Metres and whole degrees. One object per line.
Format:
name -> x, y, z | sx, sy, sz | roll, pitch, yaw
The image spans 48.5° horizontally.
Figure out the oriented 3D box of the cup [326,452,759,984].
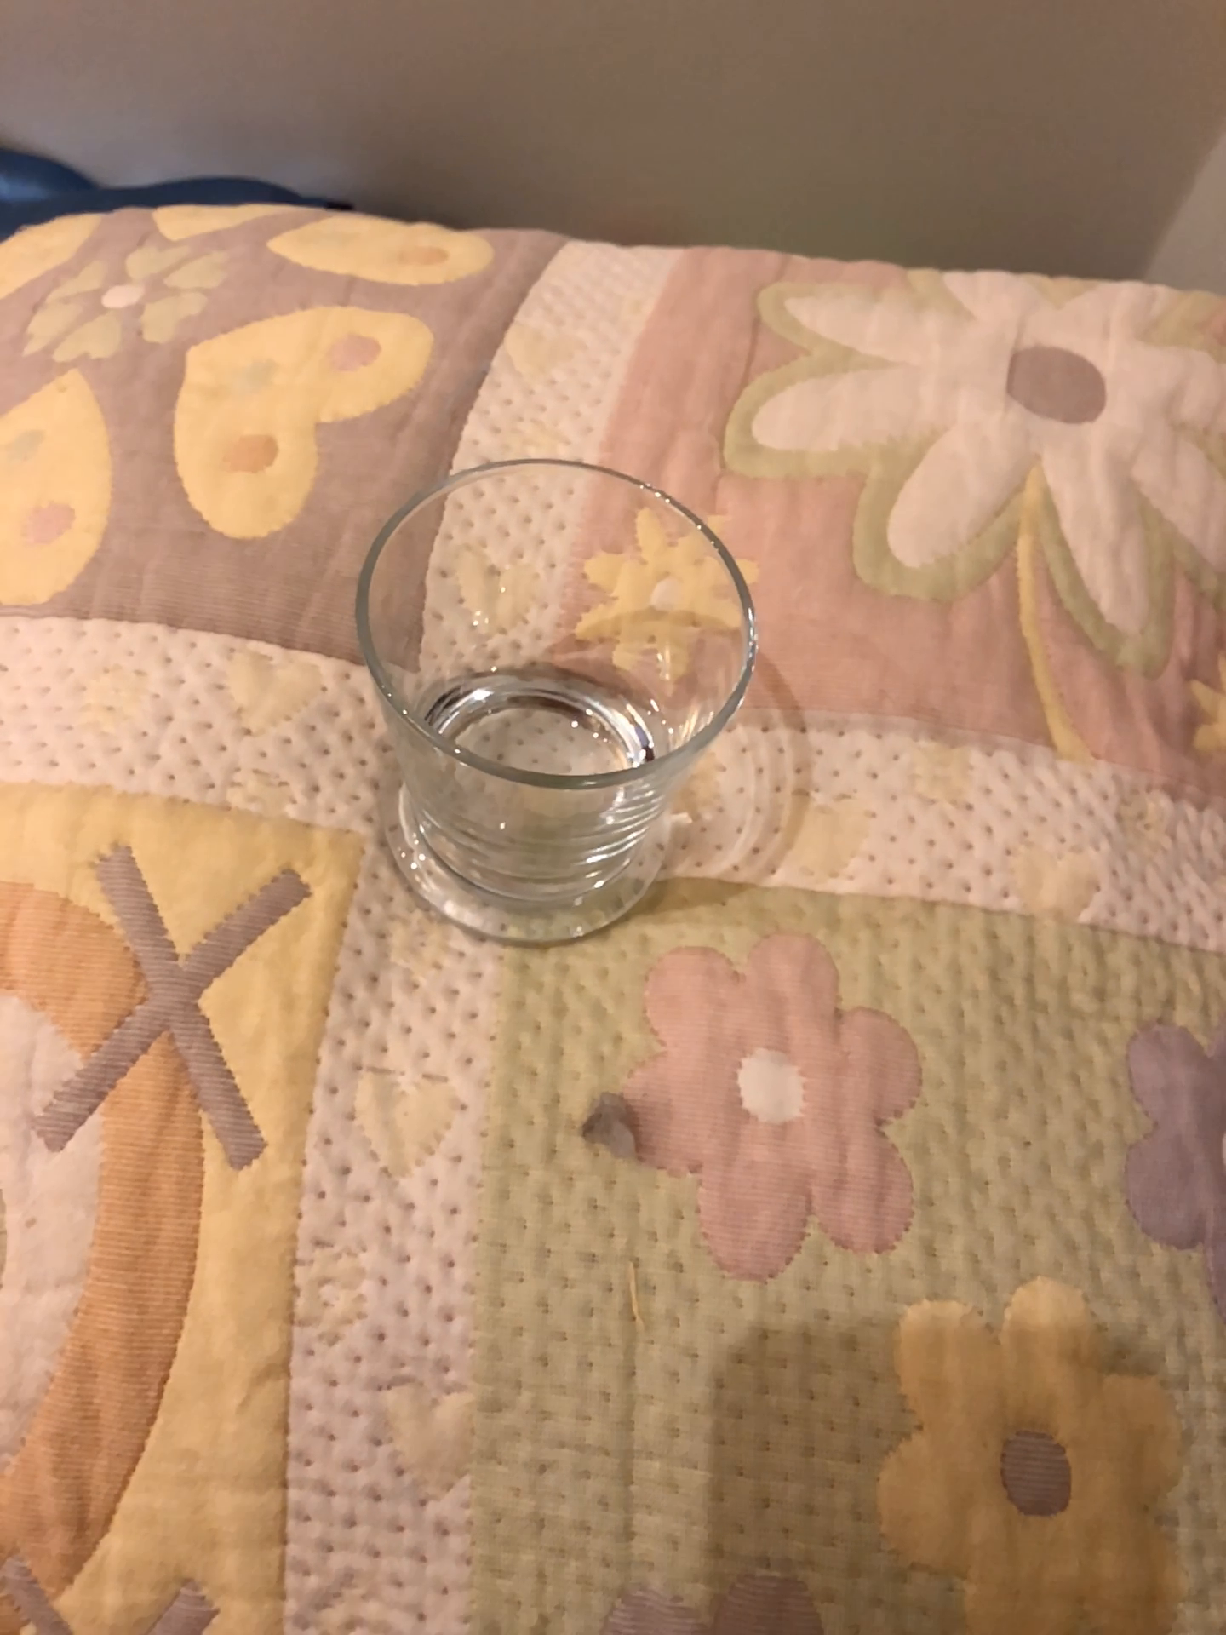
cup -> -0.021, -0.017, 0.308 | 0.080, 0.090, 0.080 | 5, 62, -9
